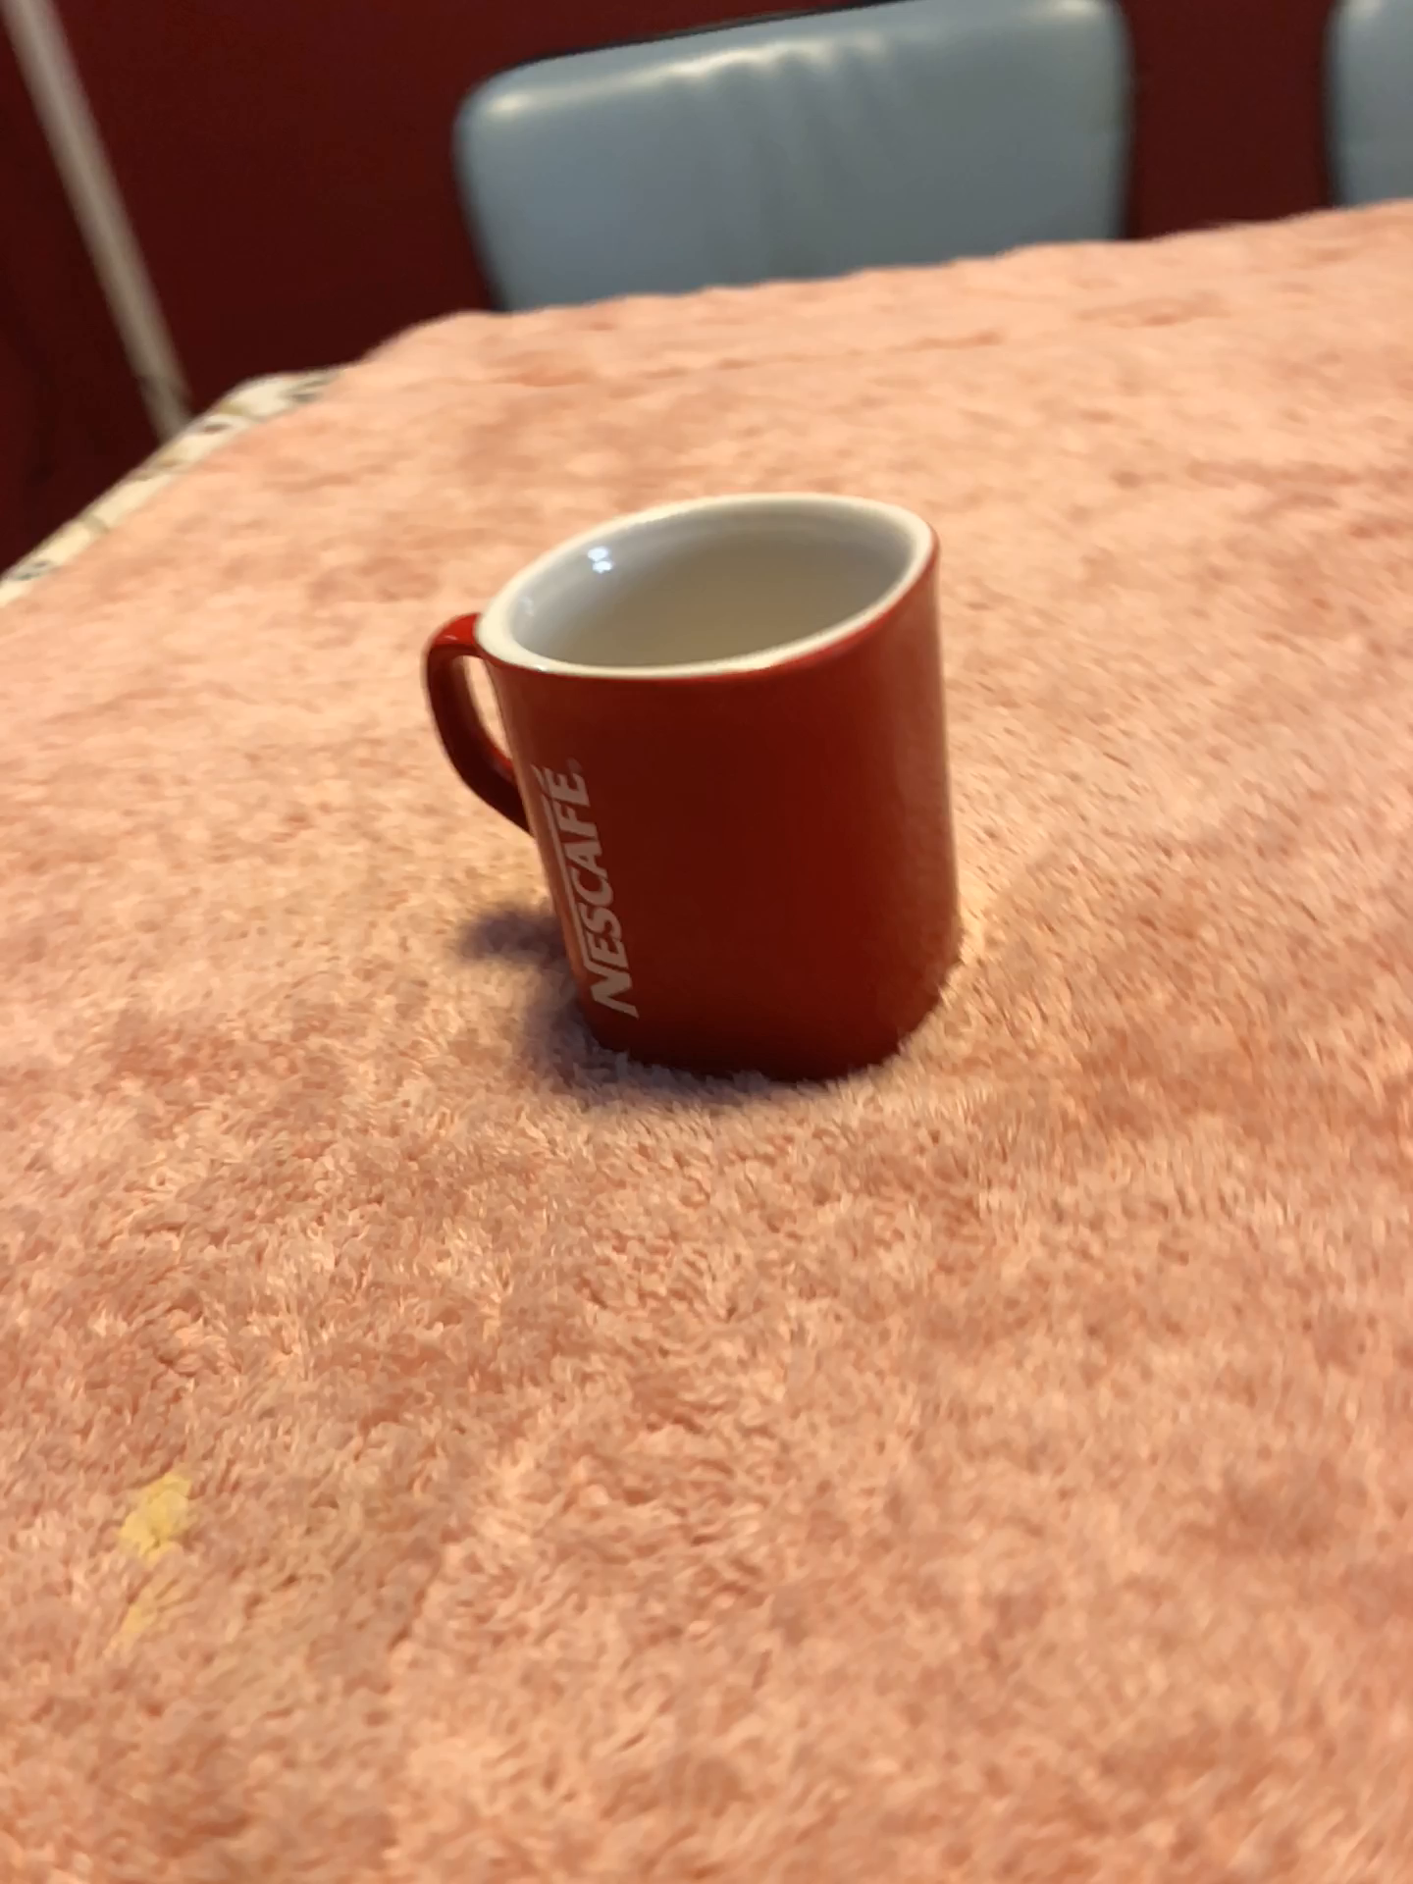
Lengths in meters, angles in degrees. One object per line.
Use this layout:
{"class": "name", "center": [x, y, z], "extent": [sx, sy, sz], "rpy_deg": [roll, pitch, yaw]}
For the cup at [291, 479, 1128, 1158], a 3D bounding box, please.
{"class": "cup", "center": [0.006, -0.026, 0.248], "extent": [0.100, 0.070, 0.070], "rpy_deg": [9, 39, 29]}
